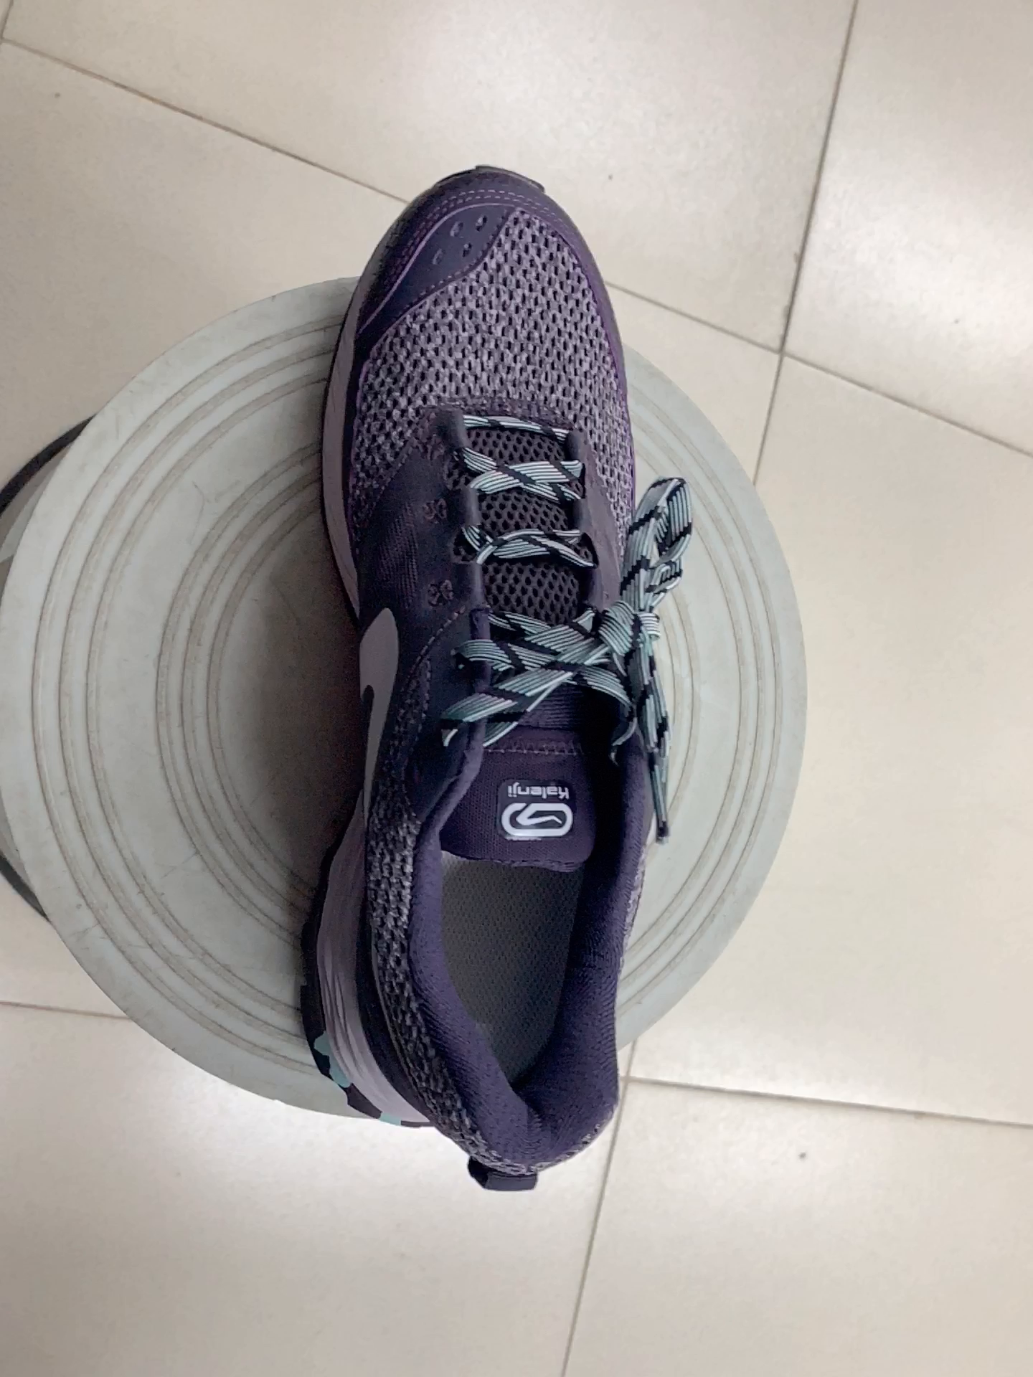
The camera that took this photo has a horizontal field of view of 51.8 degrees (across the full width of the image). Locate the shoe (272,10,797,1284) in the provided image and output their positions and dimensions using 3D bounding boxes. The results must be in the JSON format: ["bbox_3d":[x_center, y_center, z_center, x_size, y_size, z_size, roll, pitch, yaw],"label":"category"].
[{"bbox_3d":[-0.003,-0.007,0.310,0.100,0.110,0.290,4,90,-20],"label":"shoe"}]
